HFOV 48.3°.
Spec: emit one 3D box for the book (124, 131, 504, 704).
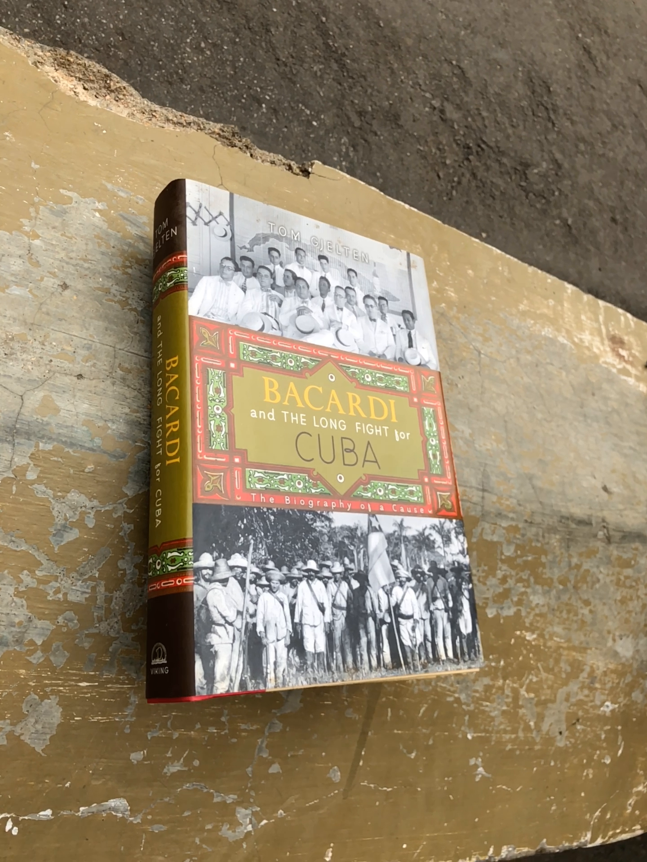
[{"bbox_3d":[-0.005,-0.003,0.362,0.171,0.050,0.250,10,66,-34],"label":"book"}]
